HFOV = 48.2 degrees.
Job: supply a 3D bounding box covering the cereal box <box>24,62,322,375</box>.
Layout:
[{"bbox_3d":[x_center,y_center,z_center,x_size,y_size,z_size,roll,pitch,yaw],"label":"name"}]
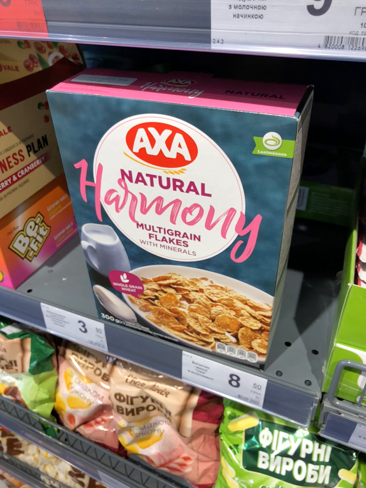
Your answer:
[{"bbox_3d":[-0.003,-0.017,0.330,0.180,0.218,0.071,13,40,20],"label":"cereal box"}]
